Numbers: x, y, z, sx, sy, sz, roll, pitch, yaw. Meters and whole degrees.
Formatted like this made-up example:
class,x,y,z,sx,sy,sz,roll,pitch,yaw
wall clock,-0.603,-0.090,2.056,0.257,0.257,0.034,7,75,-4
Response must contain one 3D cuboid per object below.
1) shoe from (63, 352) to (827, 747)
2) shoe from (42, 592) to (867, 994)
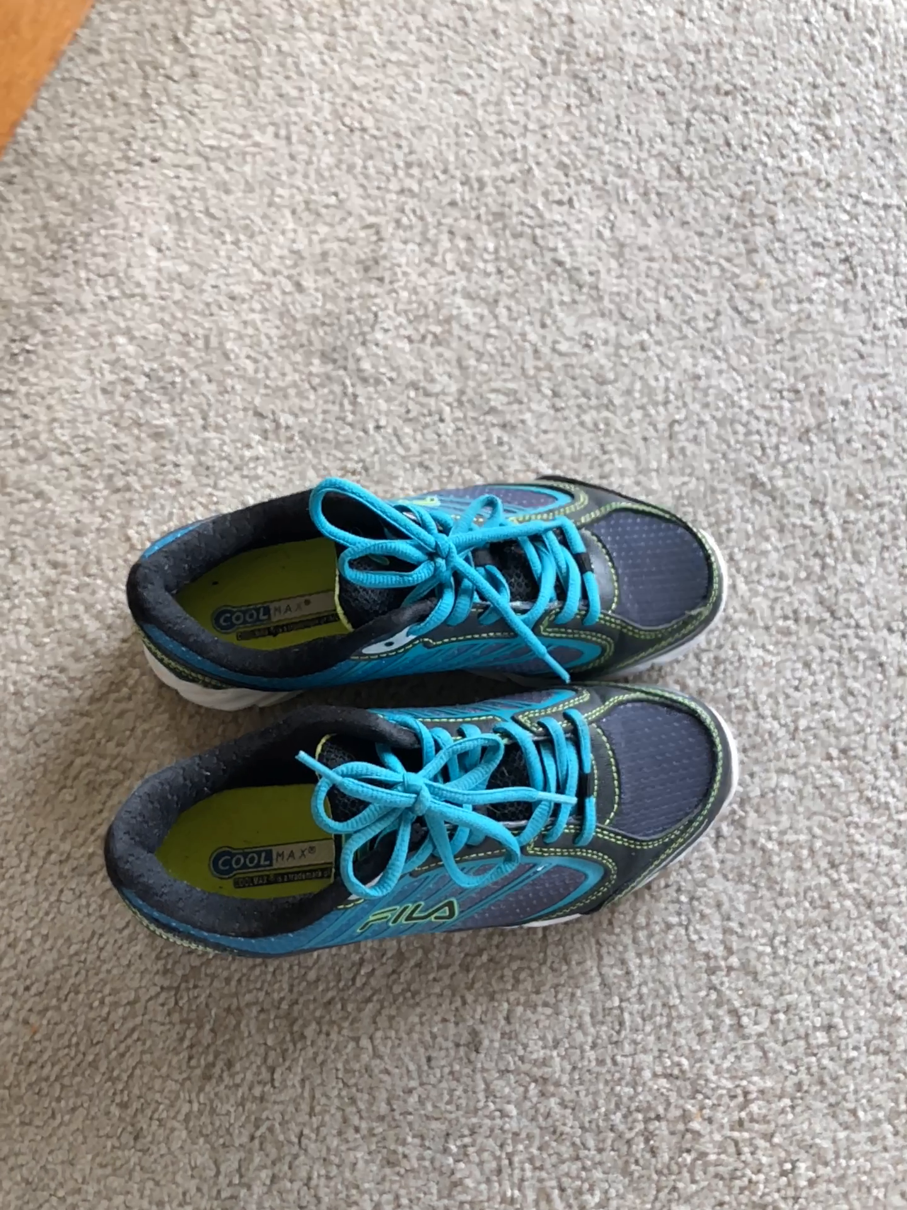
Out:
class,x,y,z,sx,sy,sz,roll,pitch,yaw
shoe,-0.007,-0.017,0.432,0.274,0.119,0.102,-7,74,-3
shoe,-0.004,0.079,0.400,0.271,0.119,0.105,-7,71,-2
